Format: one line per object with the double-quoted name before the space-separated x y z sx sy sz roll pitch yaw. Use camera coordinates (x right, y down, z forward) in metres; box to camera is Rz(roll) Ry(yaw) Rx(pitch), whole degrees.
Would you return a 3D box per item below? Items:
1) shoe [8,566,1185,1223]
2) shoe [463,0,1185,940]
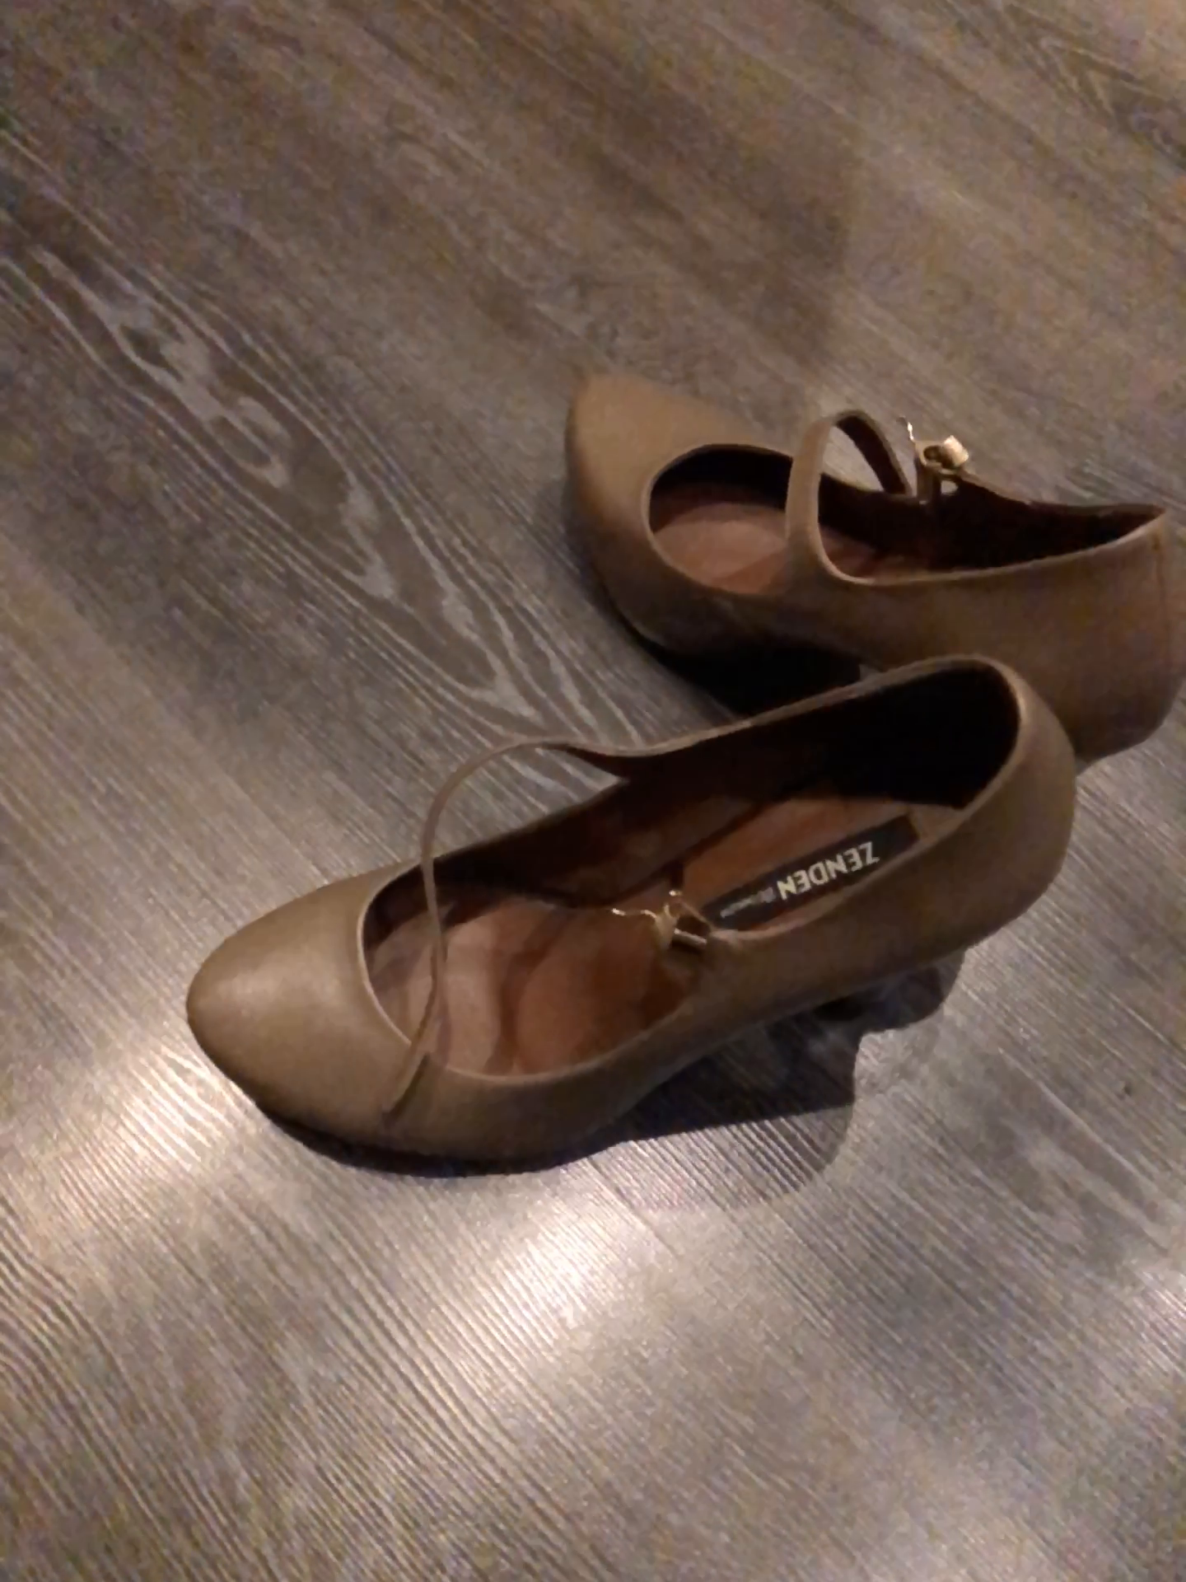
"shoe" 0.003 0.034 0.306 0.210 0.149 0.090 -4 65 -5
"shoe" 0.068 -0.087 0.368 0.090 0.149 0.210 -38 71 -18
